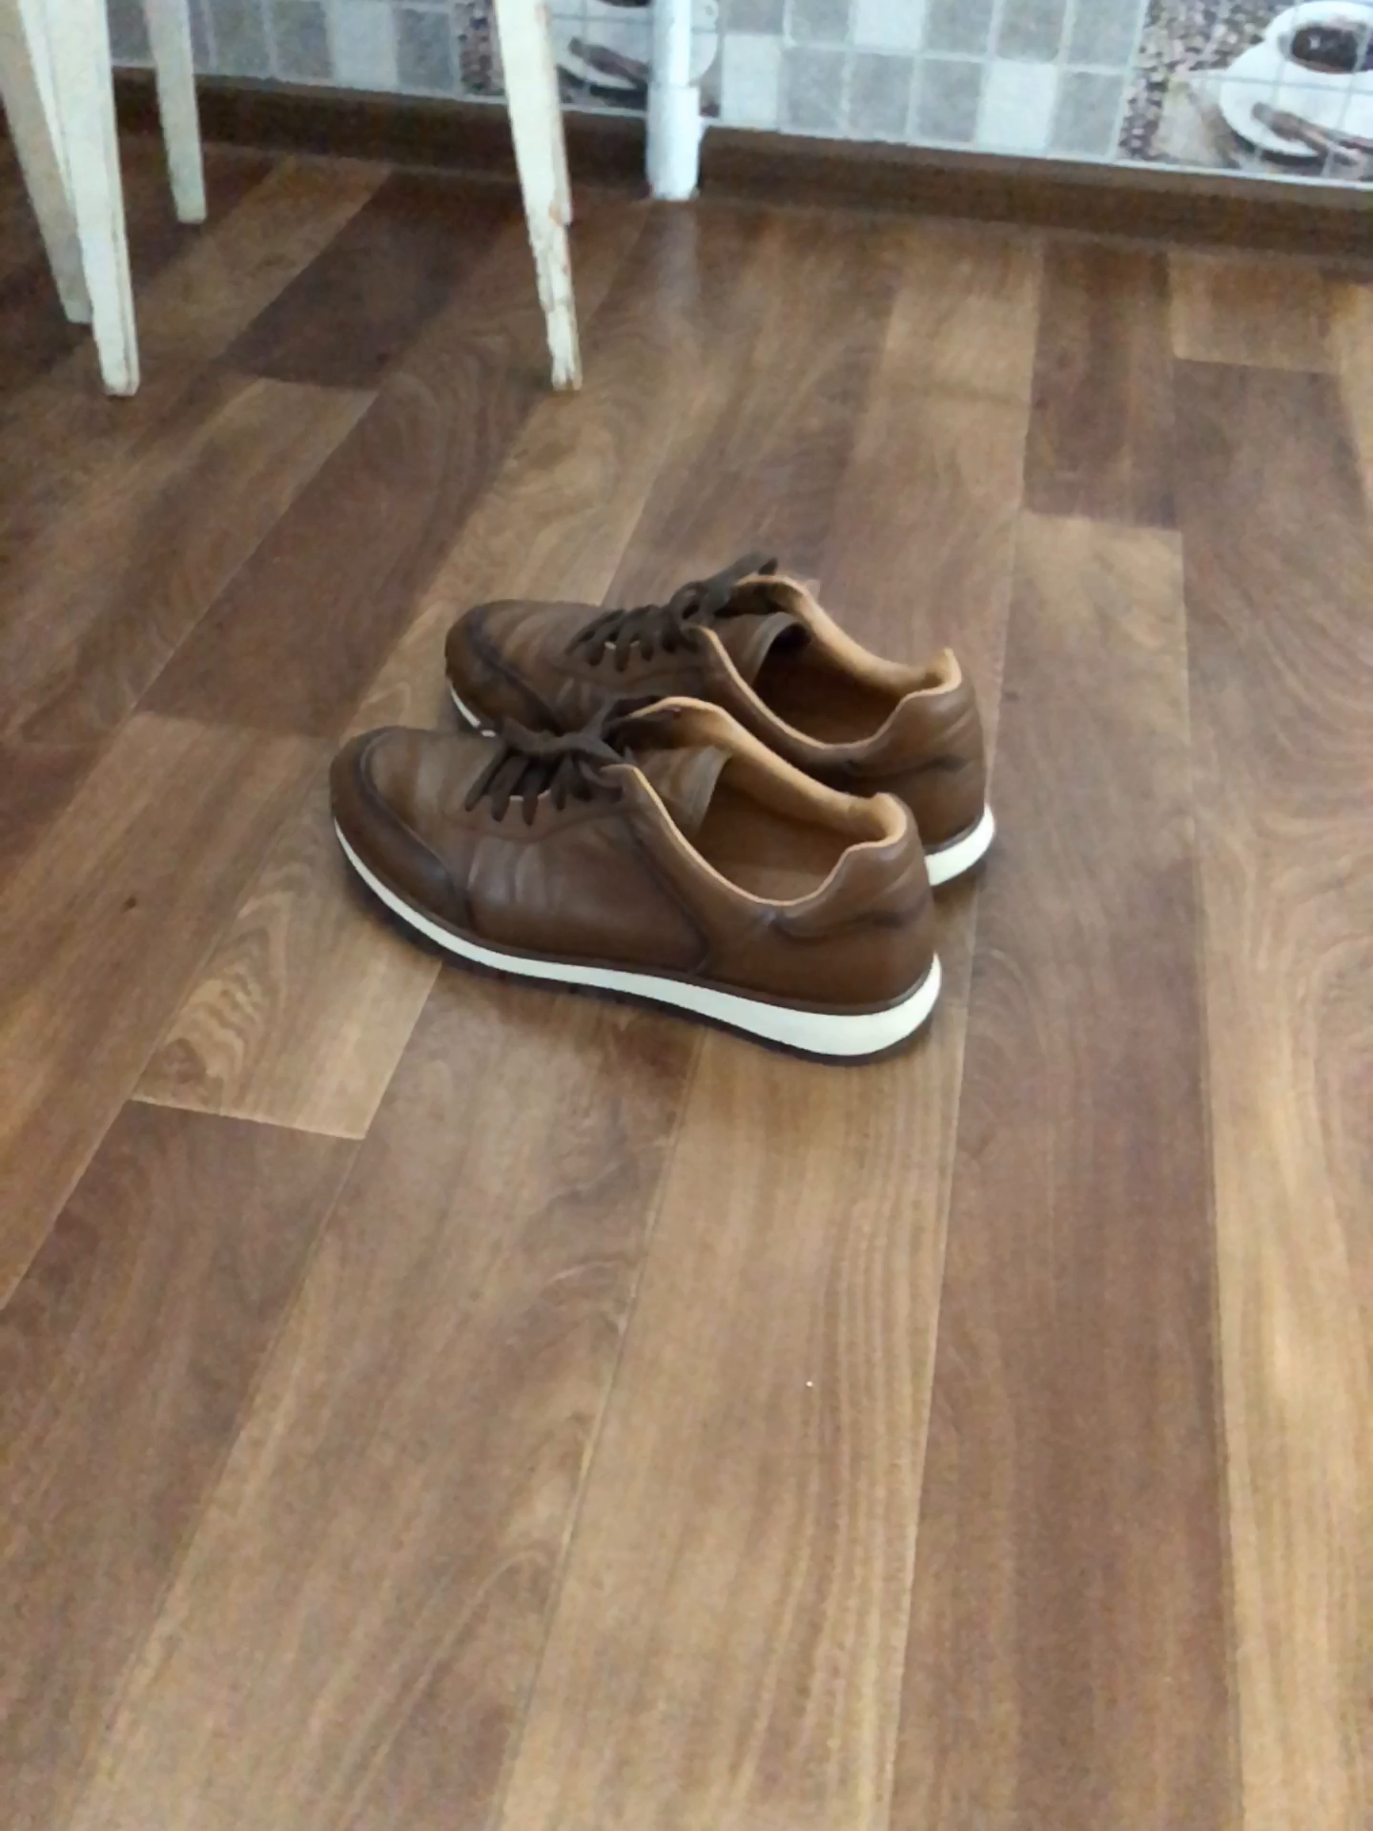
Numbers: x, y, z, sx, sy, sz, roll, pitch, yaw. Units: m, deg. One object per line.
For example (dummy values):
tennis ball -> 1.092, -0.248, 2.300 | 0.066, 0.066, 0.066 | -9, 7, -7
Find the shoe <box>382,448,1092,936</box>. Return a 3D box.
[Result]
shoe -> 0.018, -0.106, 0.670 | 0.280, 0.089, 0.111 | 22, 48, 18

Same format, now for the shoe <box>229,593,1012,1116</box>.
shoe -> -0.027, -0.031, 0.604 | 0.280, 0.089, 0.101 | 18, 47, 15
